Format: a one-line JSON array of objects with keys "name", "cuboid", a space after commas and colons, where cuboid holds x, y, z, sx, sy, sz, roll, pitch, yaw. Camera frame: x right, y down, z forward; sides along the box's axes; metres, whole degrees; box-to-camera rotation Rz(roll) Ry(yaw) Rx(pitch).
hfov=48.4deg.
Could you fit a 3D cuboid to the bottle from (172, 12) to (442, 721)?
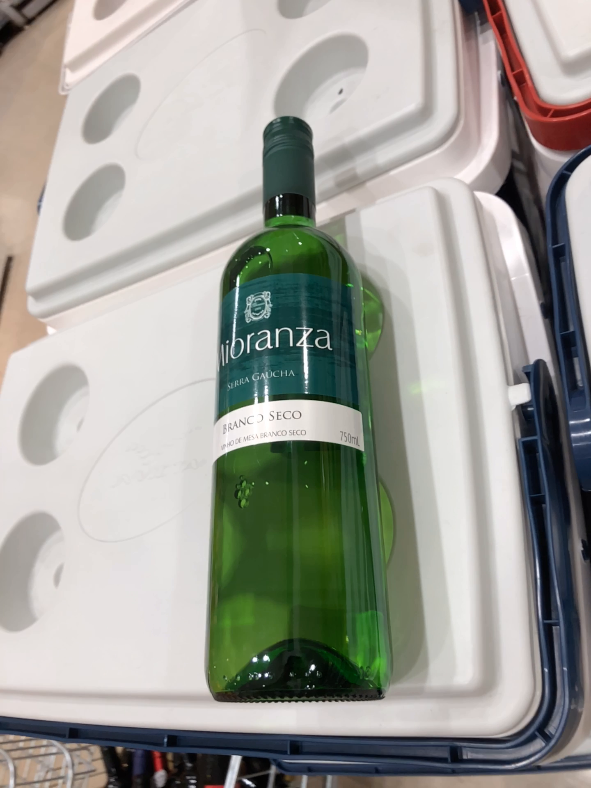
[{"name": "bottle", "cuboid": [0.005, -0.034, 0.339, 0.080, 0.070, 0.361, -18, 58, 30]}]
